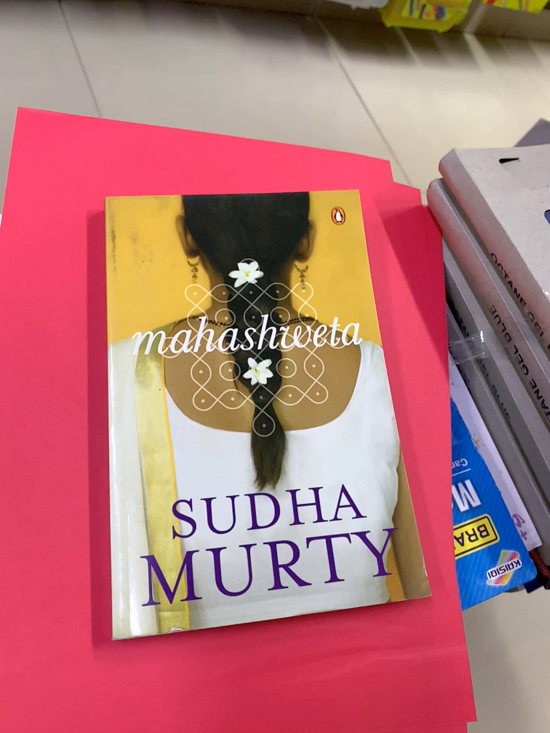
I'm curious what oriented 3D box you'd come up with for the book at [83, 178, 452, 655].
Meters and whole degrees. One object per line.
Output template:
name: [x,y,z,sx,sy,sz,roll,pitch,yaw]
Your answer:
book: [-0.011,0.007,0.256,0.140,0.020,0.201,-4,72,-9]
